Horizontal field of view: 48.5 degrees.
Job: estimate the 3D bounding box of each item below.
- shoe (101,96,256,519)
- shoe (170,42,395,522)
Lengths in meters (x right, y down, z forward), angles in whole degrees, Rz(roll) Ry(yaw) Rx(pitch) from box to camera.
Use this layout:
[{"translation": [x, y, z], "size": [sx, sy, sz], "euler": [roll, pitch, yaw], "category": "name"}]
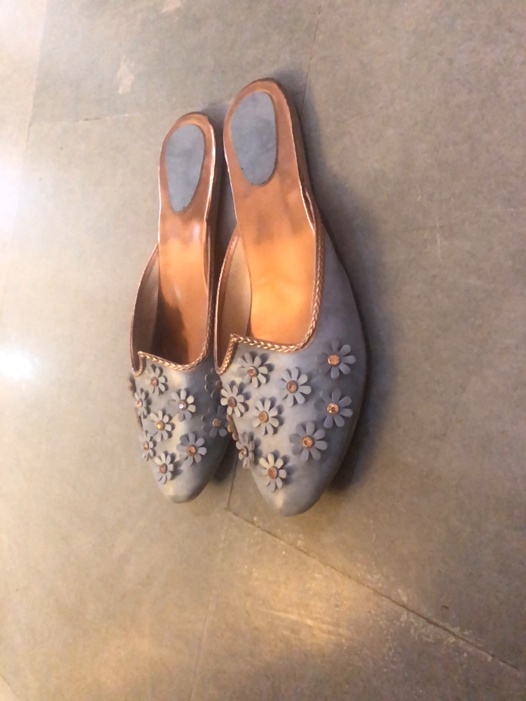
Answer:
[{"translation": [-0.065, -0.025, 0.419], "size": [0.101, 0.050, 0.270], "euler": [-8, 82, 41], "category": "shoe"}, {"translation": [0.005, -0.036, 0.367], "size": [0.101, 0.050, 0.270], "euler": [-15, 77, 40], "category": "shoe"}]
